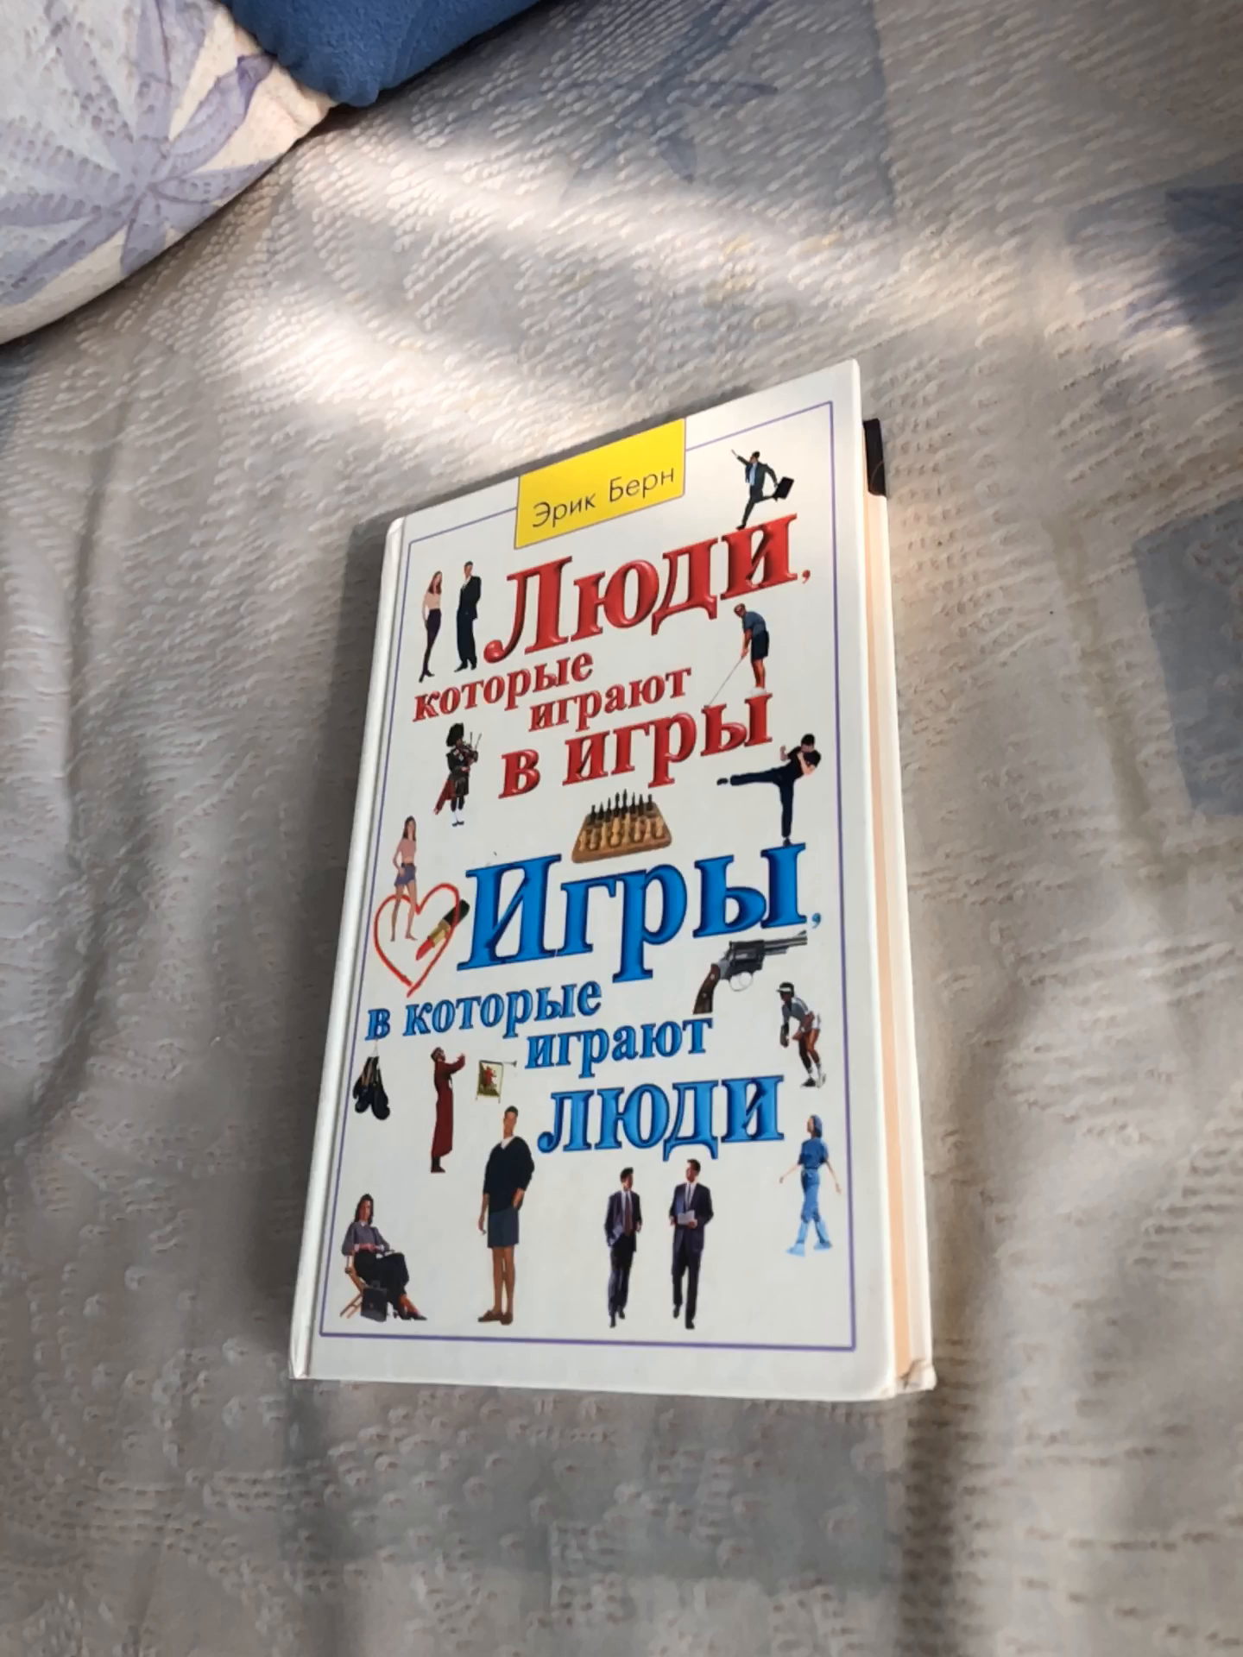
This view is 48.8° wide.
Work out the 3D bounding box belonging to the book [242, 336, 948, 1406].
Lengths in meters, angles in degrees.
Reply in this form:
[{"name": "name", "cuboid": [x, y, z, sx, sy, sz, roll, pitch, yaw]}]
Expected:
[{"name": "book", "cuboid": [-0.006, 0.008, 0.296, 0.135, 0.030, 0.211, -10, 65, 27]}]
